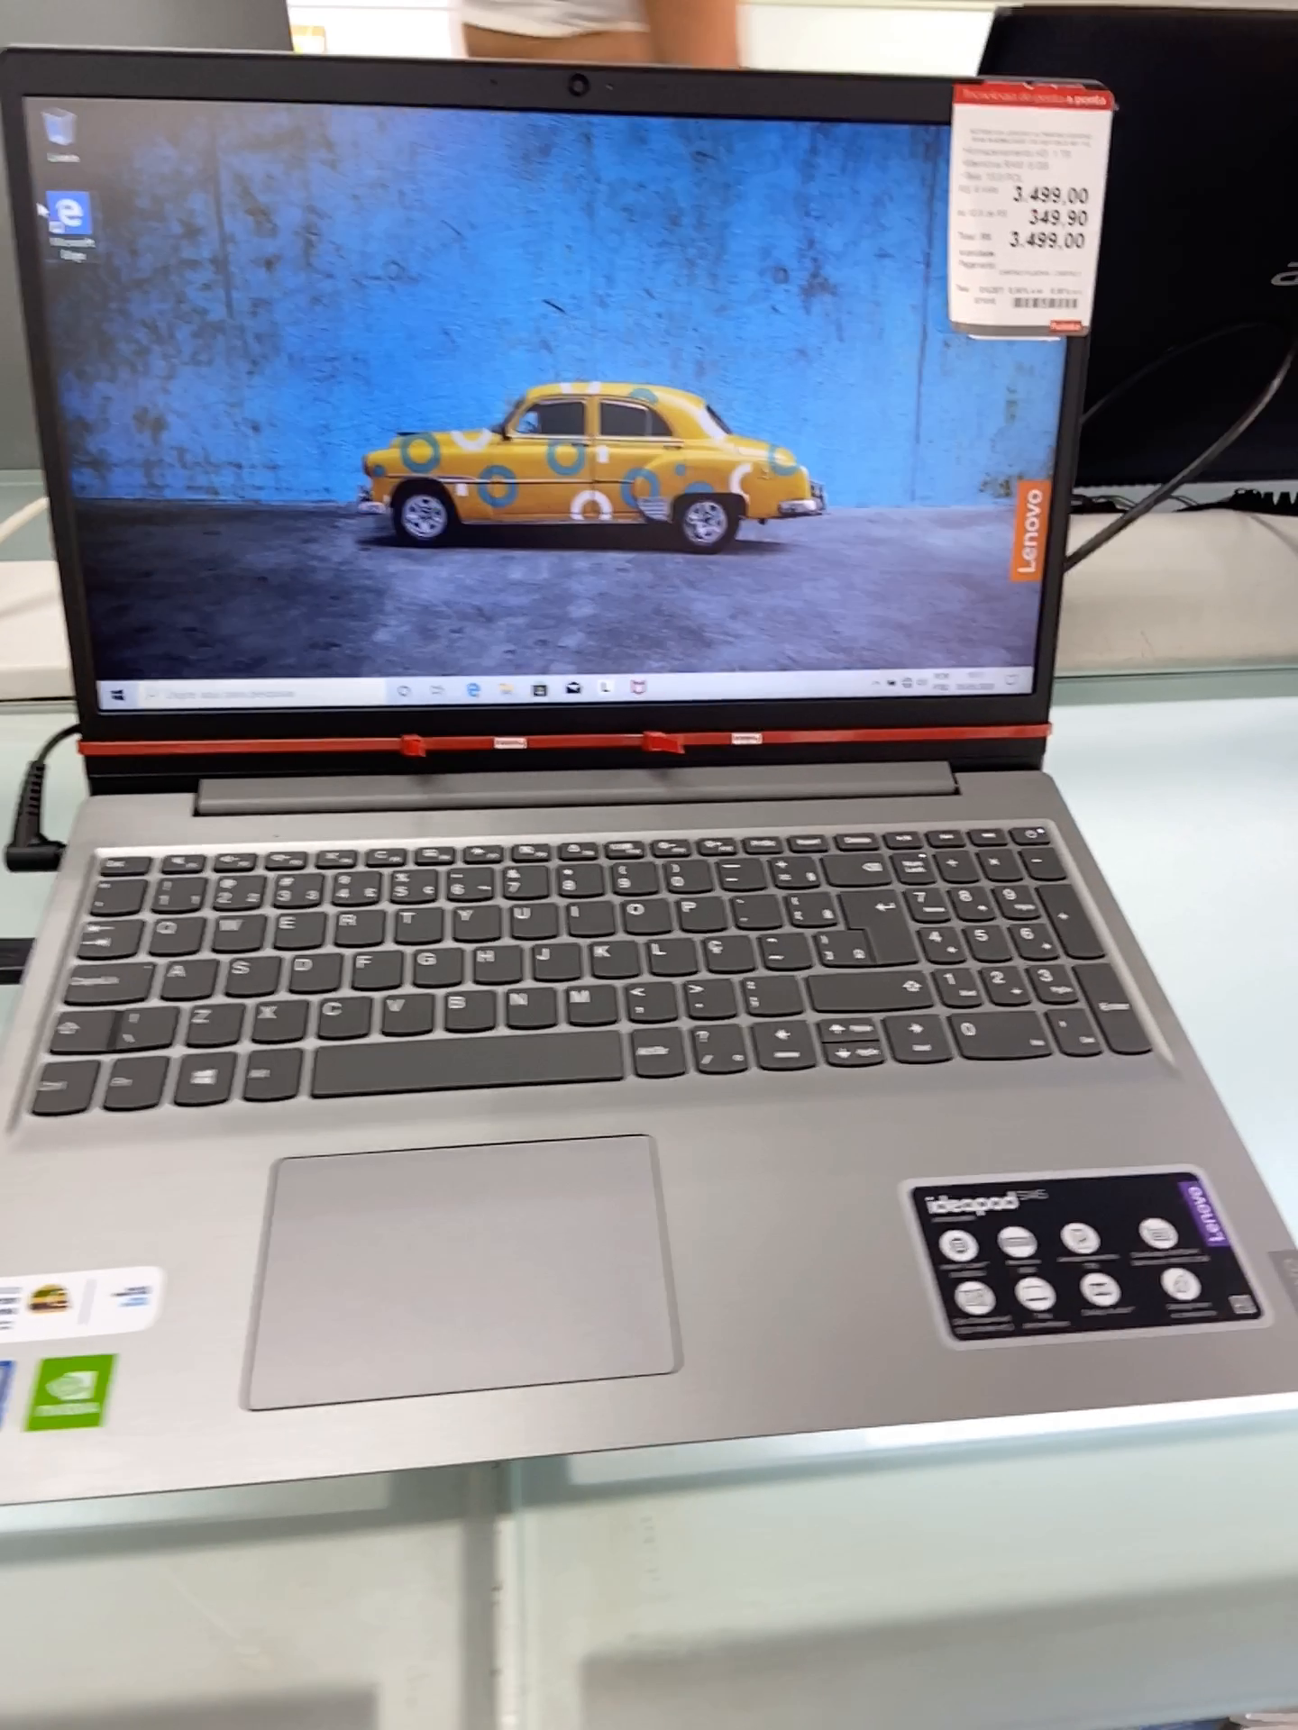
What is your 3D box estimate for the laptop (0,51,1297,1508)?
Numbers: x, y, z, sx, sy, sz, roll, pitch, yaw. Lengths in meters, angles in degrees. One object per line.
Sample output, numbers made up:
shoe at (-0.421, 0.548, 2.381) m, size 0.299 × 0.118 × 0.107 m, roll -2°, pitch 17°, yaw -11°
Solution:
laptop at (-0.013, -0.061, 0.378) m, size 0.364 × 0.214 × 0.353 m, roll -2°, pitch 43°, yaw -6°
